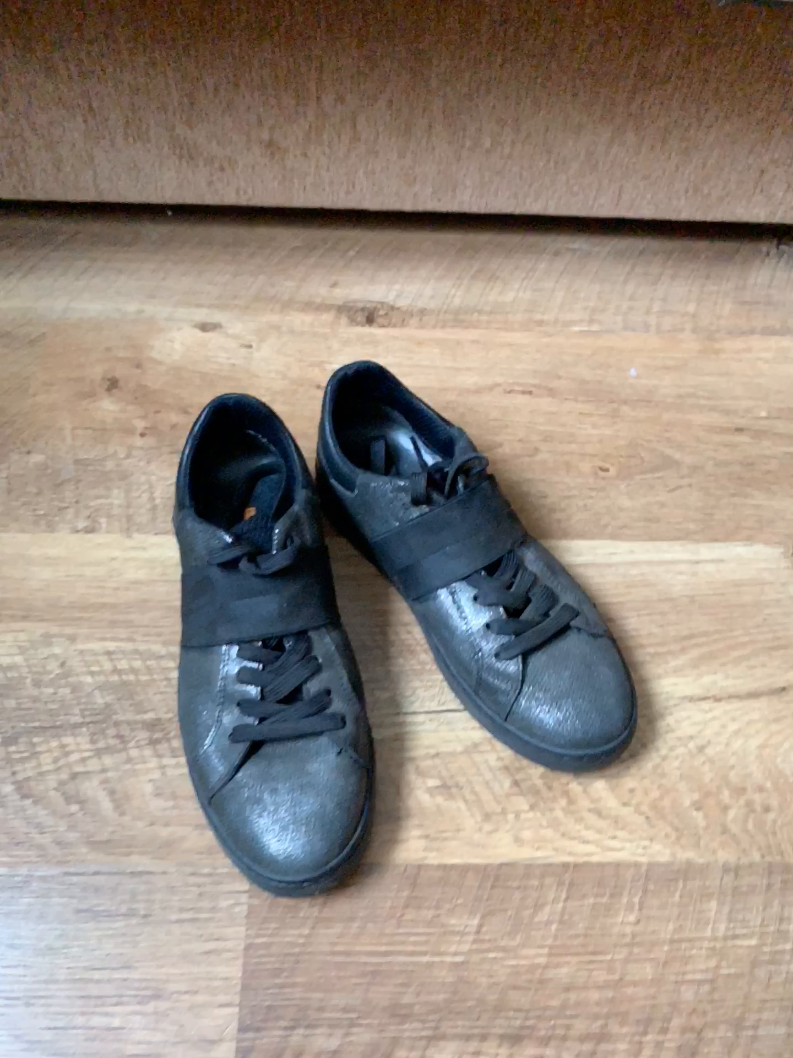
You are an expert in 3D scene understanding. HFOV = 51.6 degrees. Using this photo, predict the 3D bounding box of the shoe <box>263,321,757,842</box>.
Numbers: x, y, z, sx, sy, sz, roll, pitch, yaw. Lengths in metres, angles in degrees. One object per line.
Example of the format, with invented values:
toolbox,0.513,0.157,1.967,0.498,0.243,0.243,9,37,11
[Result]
shoe,0.042,0.016,0.441,0.100,0.090,0.261,-29,61,-21

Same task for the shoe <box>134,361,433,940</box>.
shoe,-0.065,0.045,0.410,0.100,0.090,0.261,-9,56,-9
